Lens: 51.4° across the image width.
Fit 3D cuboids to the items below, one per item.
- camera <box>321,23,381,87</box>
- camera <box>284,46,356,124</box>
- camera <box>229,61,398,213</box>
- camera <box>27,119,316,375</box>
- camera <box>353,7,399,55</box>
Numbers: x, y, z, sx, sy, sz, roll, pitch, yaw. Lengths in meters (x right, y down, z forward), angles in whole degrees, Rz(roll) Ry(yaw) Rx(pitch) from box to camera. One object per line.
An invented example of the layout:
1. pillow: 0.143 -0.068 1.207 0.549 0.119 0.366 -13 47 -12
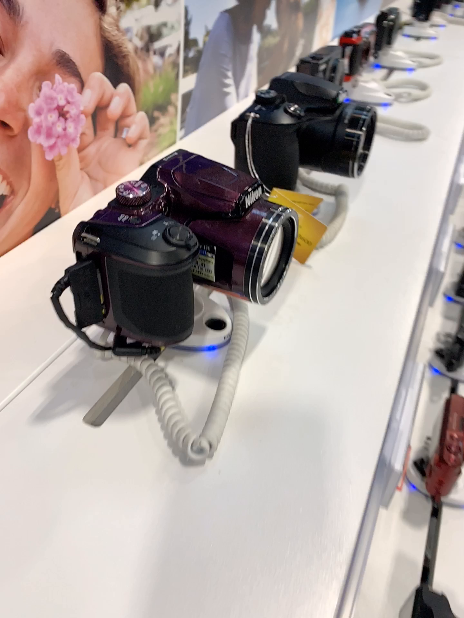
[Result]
1. camera: 0.186 -0.396 0.746 0.050 0.060 0.131 17 42 19
2. camera: 0.113 -0.287 0.612 0.050 0.060 0.120 17 42 19
3. camera: 0.073 -0.160 0.433 0.110 0.080 0.120 17 42 19
4. camera: -0.026 -0.048 0.296 0.110 0.080 0.131 17 42 19
5. camera: 0.274 -0.529 0.914 0.050 0.060 0.110 17 42 19
